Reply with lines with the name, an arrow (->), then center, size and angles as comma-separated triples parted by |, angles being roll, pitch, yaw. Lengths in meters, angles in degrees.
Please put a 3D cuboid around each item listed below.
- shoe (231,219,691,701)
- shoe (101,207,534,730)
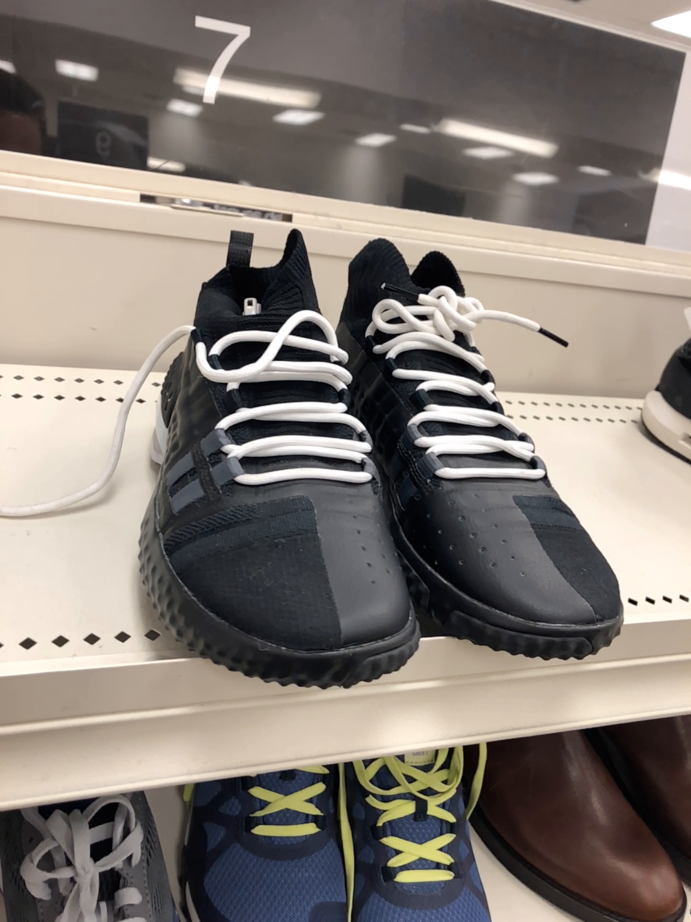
shoe -> 0.044, -0.039, 0.452 | 0.120, 0.136, 0.352 | 0, 24, -25
shoe -> -0.059, -0.038, 0.419 | 0.120, 0.136, 0.352 | 1, 24, -21
